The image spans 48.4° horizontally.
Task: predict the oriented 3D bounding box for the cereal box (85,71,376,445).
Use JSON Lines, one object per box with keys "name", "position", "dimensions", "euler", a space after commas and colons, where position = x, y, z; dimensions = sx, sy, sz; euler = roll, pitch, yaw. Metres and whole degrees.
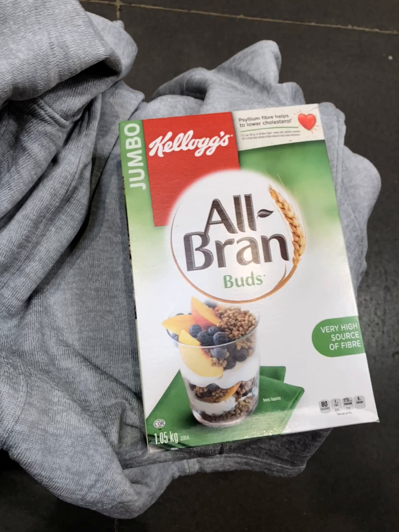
{"name": "cereal box", "position": [0.017, -0.014, 0.411], "dimensions": [0.200, 0.070, 0.300], "euler": [-8, 77, -2]}
